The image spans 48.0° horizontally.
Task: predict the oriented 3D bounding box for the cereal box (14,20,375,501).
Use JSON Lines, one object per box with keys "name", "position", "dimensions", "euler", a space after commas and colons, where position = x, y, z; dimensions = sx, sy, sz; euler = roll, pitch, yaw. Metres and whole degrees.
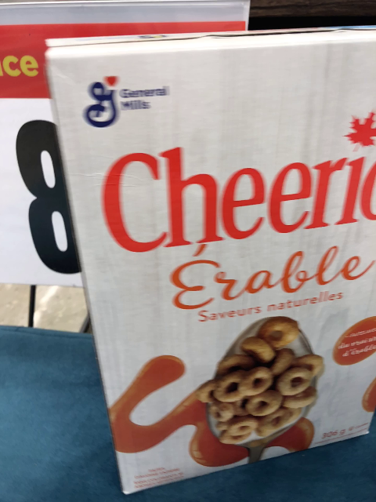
{"name": "cereal box", "position": [0.041, 0.021, 0.252], "dimensions": [0.210, 0.269, 0.060], "euler": [-8, 32, -11]}
